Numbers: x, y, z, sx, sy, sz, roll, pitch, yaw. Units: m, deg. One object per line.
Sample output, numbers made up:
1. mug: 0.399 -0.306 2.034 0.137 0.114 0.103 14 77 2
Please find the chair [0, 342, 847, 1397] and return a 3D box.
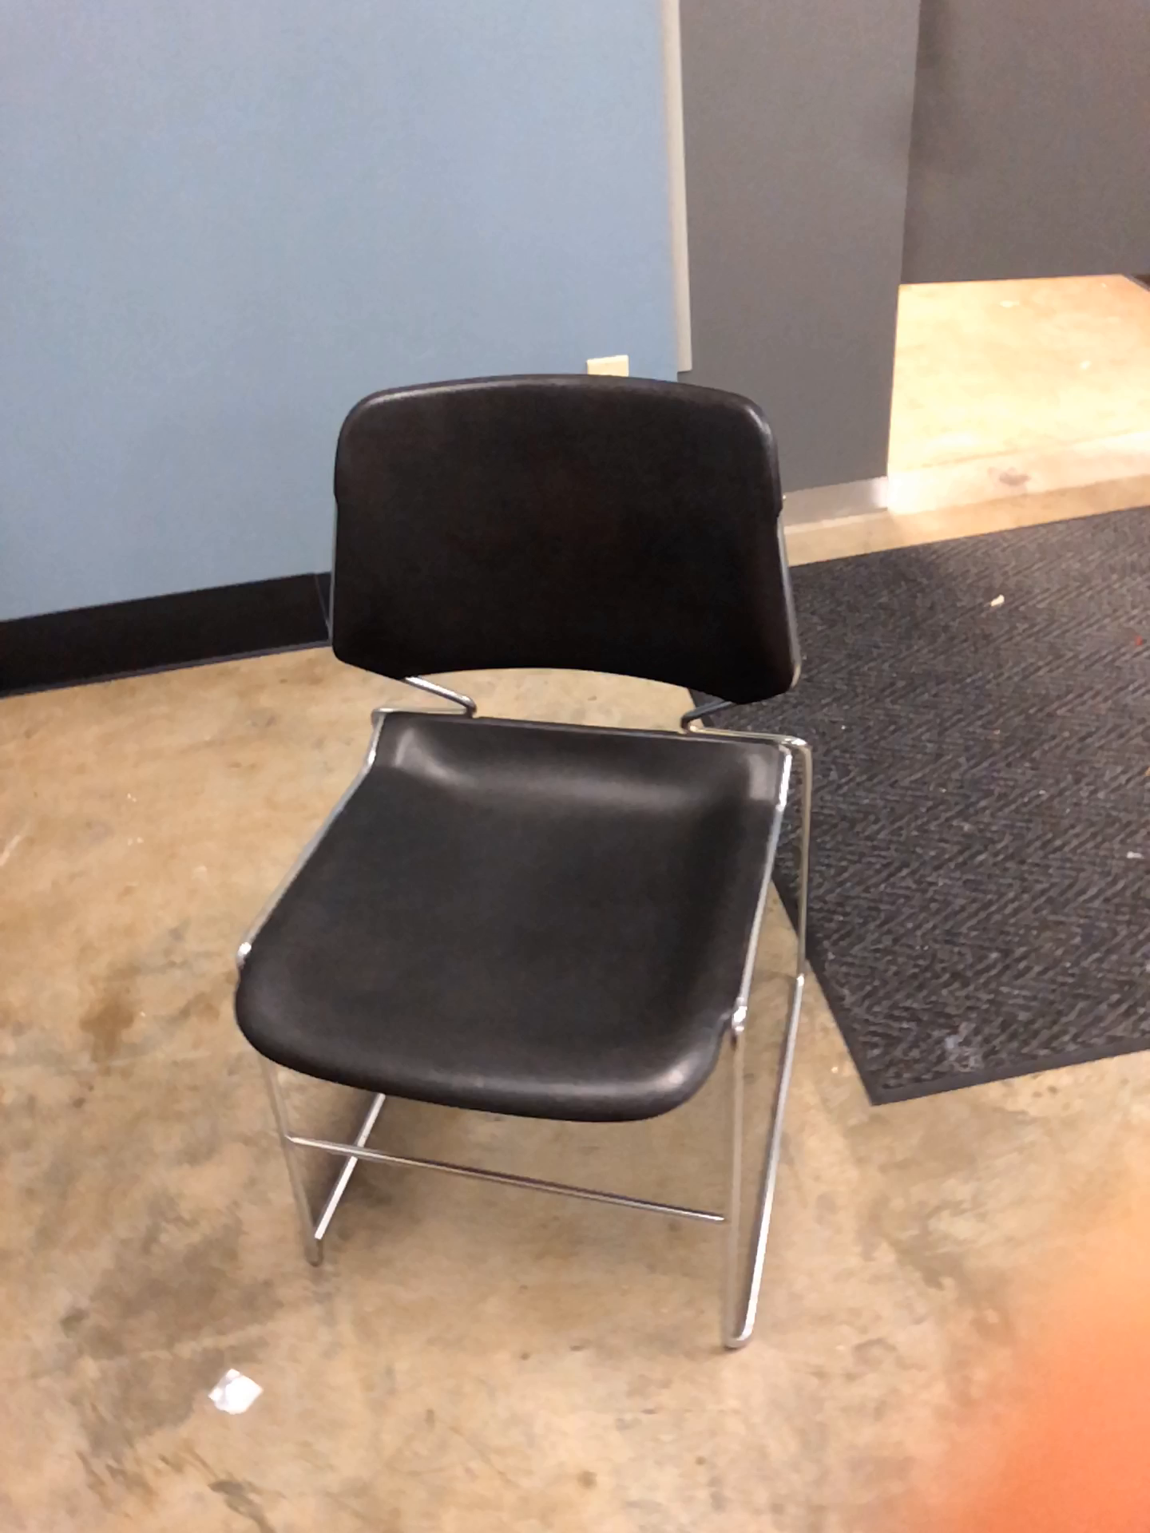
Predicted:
1. chair: -0.048 0.083 1.186 0.524 0.765 0.552 5 40 14
